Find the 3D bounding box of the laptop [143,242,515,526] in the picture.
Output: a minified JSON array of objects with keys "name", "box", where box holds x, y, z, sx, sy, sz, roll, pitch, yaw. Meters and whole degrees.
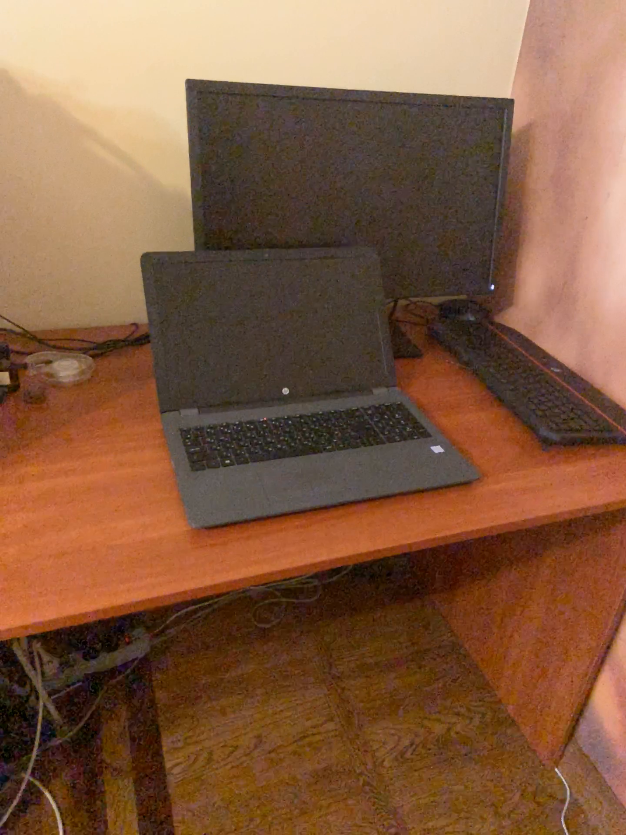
[{"name":"laptop","box":[-0.013,-0.082,0.850,0.366,0.181,0.376,-7,33,-19]}]
